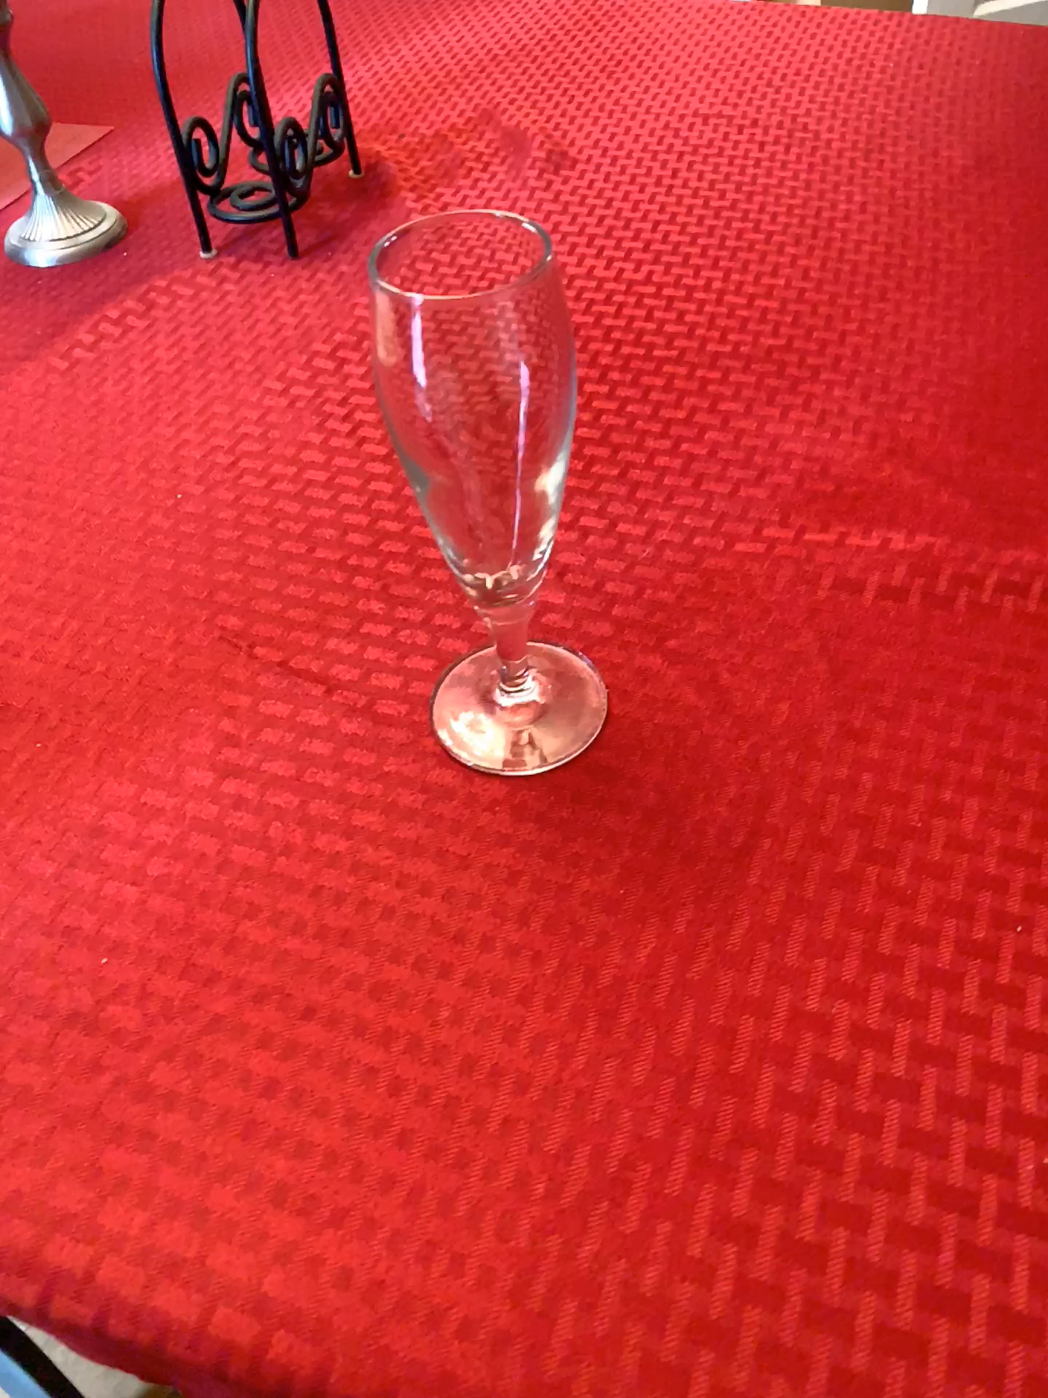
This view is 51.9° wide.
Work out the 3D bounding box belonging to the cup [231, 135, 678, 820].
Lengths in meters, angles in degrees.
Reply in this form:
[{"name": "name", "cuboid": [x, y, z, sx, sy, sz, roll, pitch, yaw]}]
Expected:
[{"name": "cup", "cuboid": [-0.009, -0.058, 0.331, 0.080, 0.179, 0.080, -3, 49, 3]}]
